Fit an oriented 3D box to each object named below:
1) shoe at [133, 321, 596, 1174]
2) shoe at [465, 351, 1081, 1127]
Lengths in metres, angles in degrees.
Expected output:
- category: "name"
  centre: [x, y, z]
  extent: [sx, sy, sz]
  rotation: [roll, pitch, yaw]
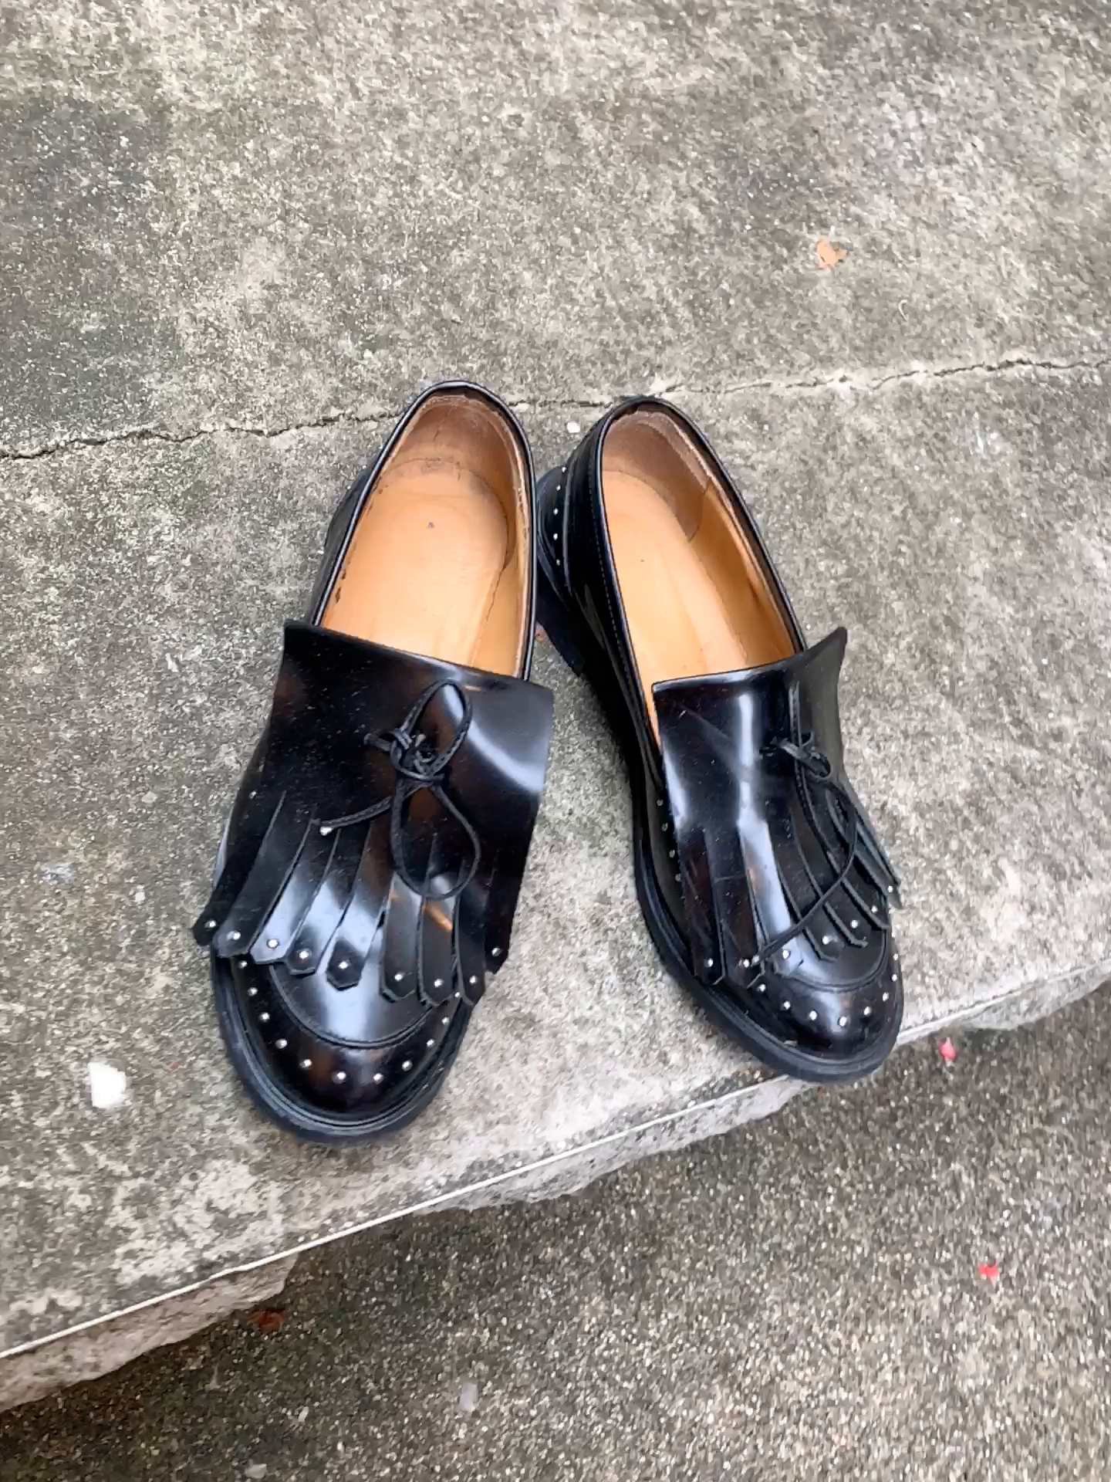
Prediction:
- category: "shoe"
  centre: [-0.051, -0.003, 0.359]
  extent: [0.093, 0.081, 0.247]
  rotation: [11, 62, -10]
- category: "shoe"
  centre: [0.061, -0.009, 0.399]
  extent: [0.094, 0.080, 0.248]
  rotation: [-14, 69, -24]
